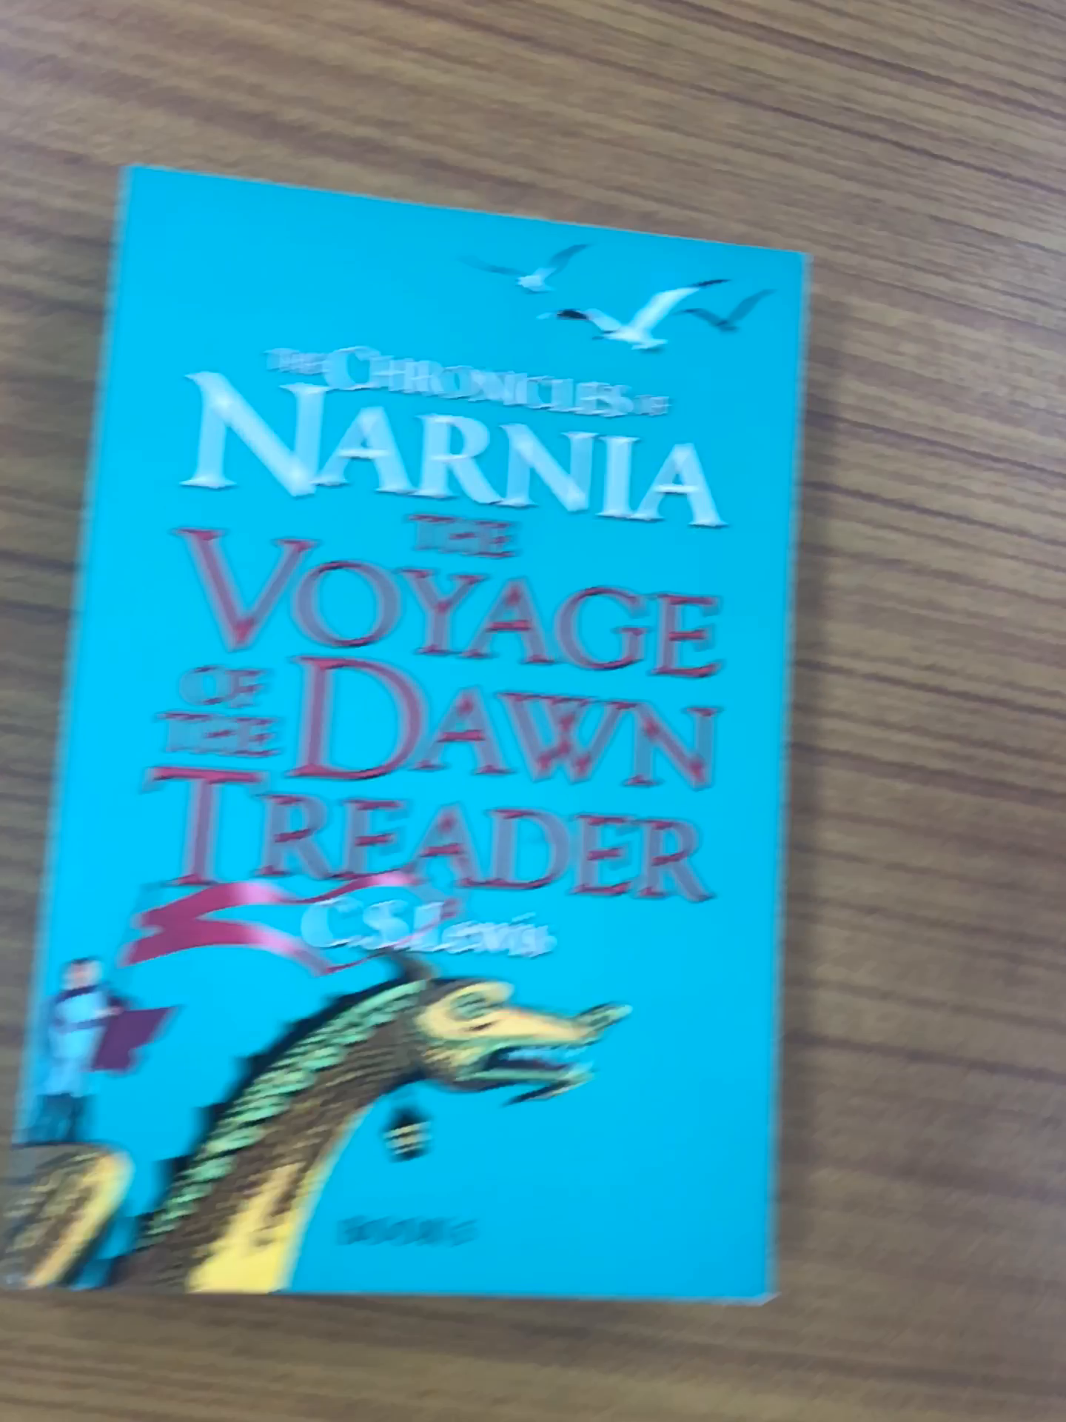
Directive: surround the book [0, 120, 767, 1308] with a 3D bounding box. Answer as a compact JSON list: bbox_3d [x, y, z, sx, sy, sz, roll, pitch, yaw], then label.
[{"bbox_3d":[-0.027,0.001,0.225,0.130,0.030,0.200,4,84,-8],"label":"book"}]
